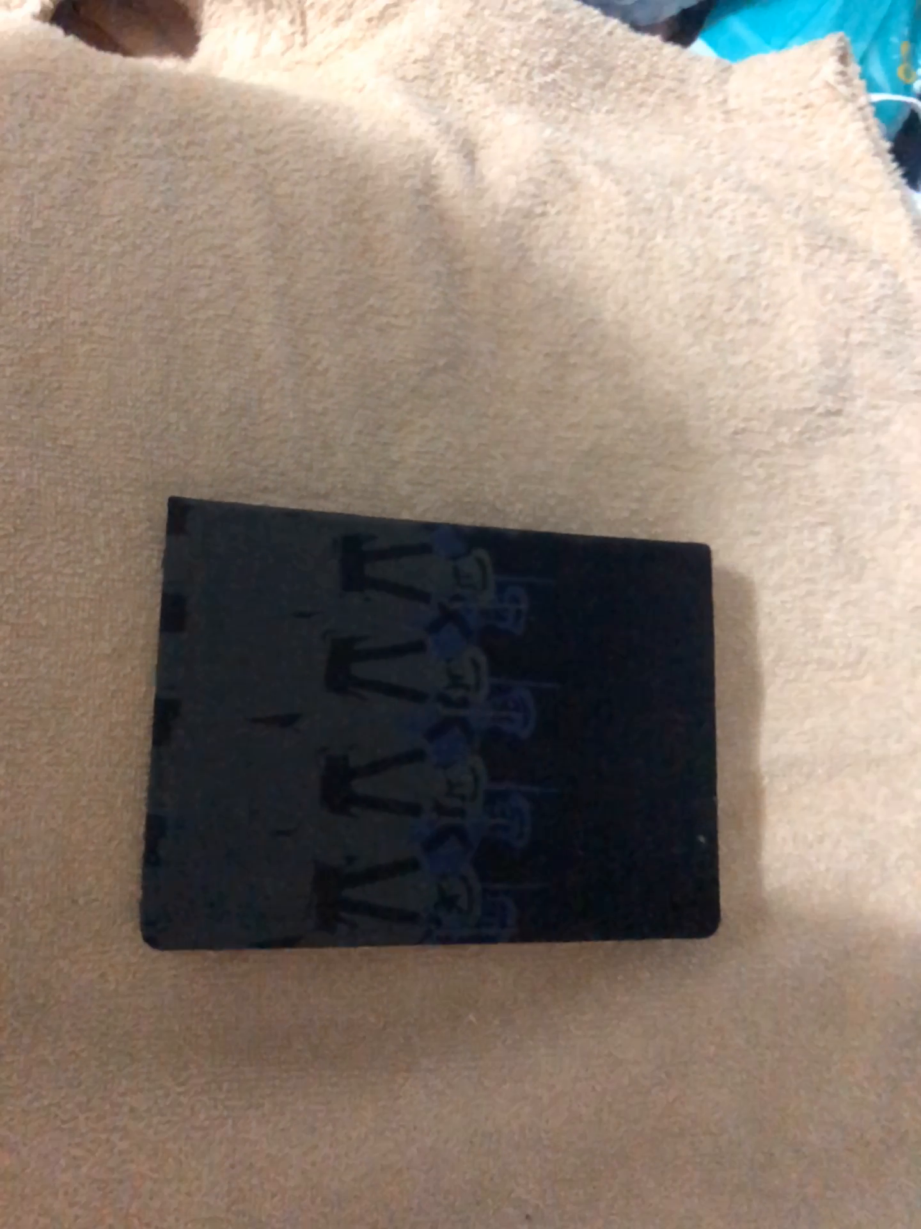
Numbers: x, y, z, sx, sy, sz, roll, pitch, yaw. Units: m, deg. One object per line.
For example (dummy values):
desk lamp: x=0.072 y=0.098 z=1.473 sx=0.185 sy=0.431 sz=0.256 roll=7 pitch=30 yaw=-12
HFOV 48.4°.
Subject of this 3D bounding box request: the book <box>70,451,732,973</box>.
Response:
book: x=-0.014 y=0.033 z=0.324 sx=0.190 sy=0.050 sz=0.140 roll=4 pitch=79 yaw=-15
